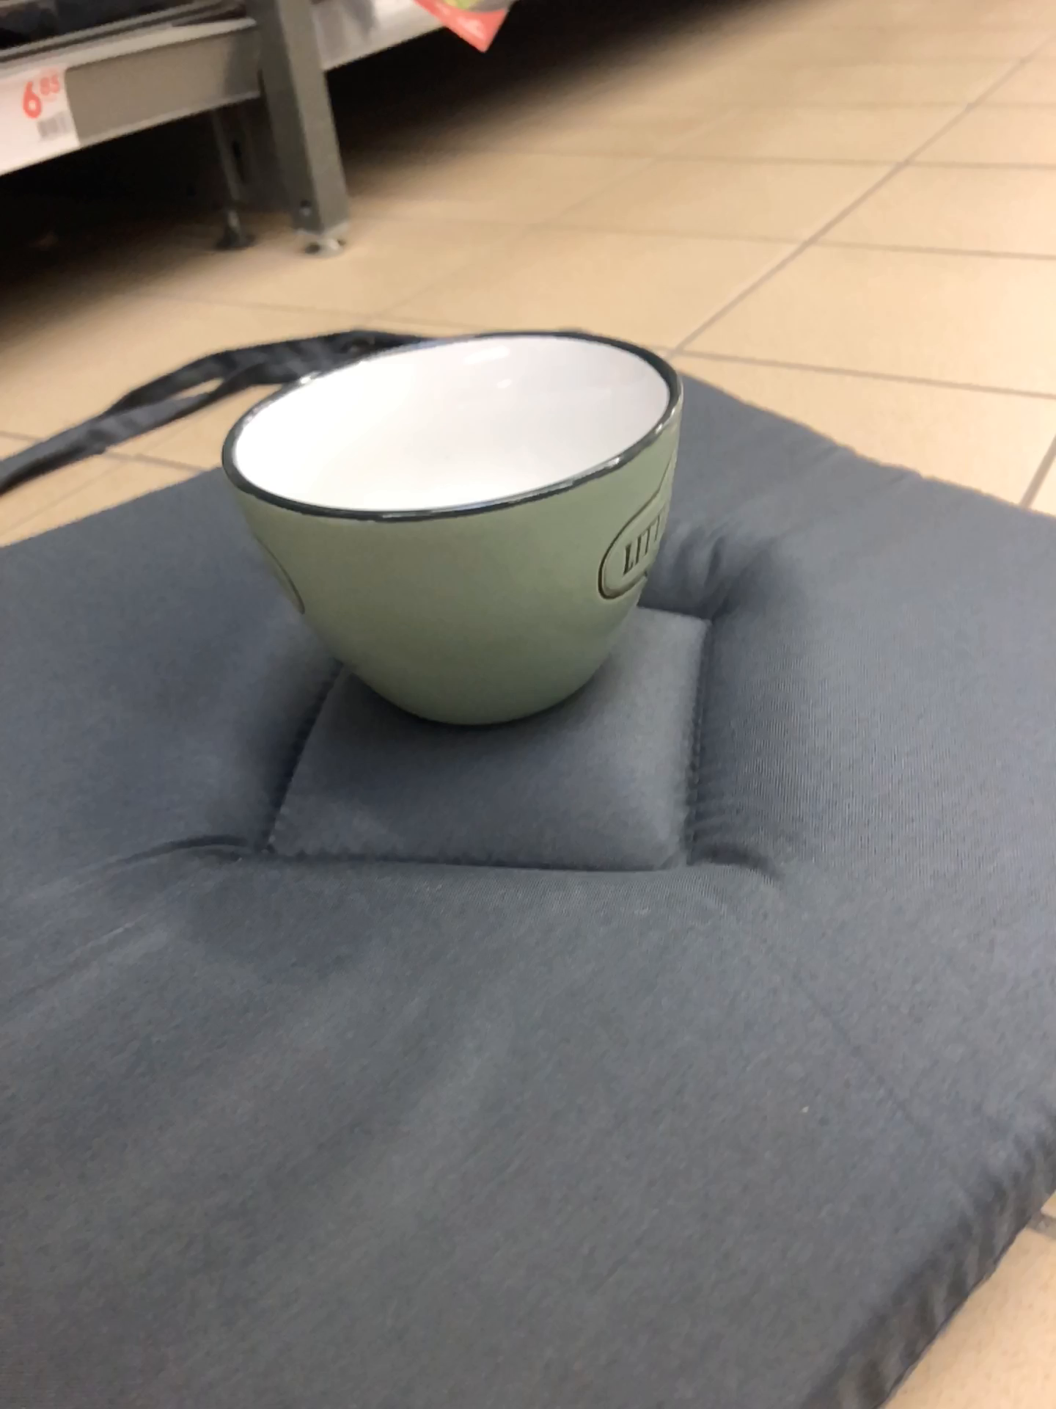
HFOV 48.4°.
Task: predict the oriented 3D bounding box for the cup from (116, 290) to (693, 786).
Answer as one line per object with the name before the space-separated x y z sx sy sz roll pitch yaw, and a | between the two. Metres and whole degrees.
cup | -0.017 -0.051 0.319 0.120 0.070 0.141 0 37 9
